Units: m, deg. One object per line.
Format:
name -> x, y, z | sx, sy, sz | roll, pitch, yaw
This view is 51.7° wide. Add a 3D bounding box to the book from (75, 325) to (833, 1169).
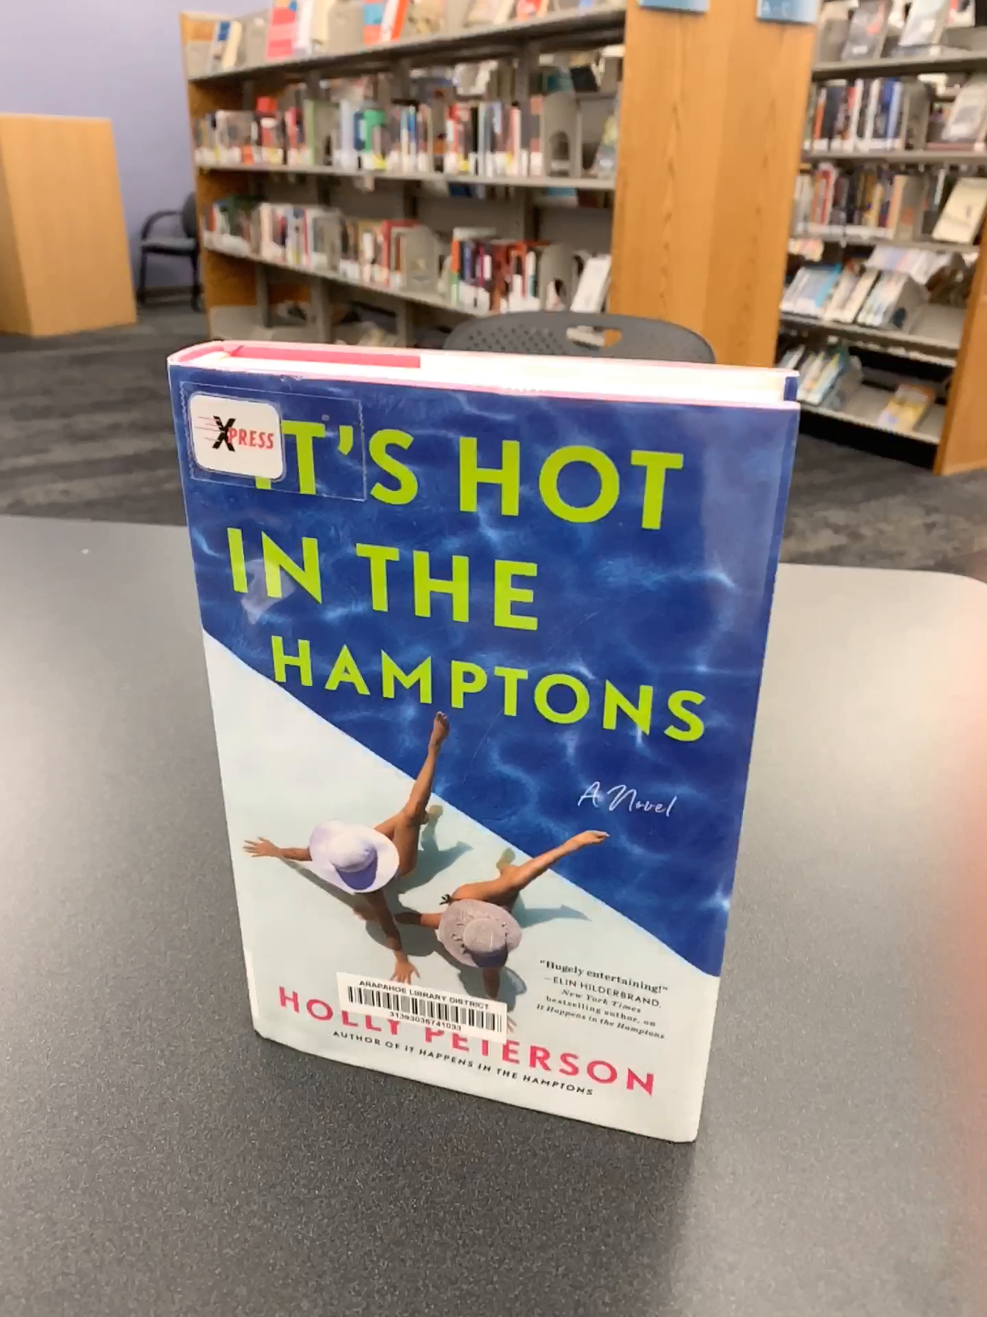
book -> -0.011, 0.028, 0.289 | 0.170, 0.219, 0.050 | 8, 27, 13
